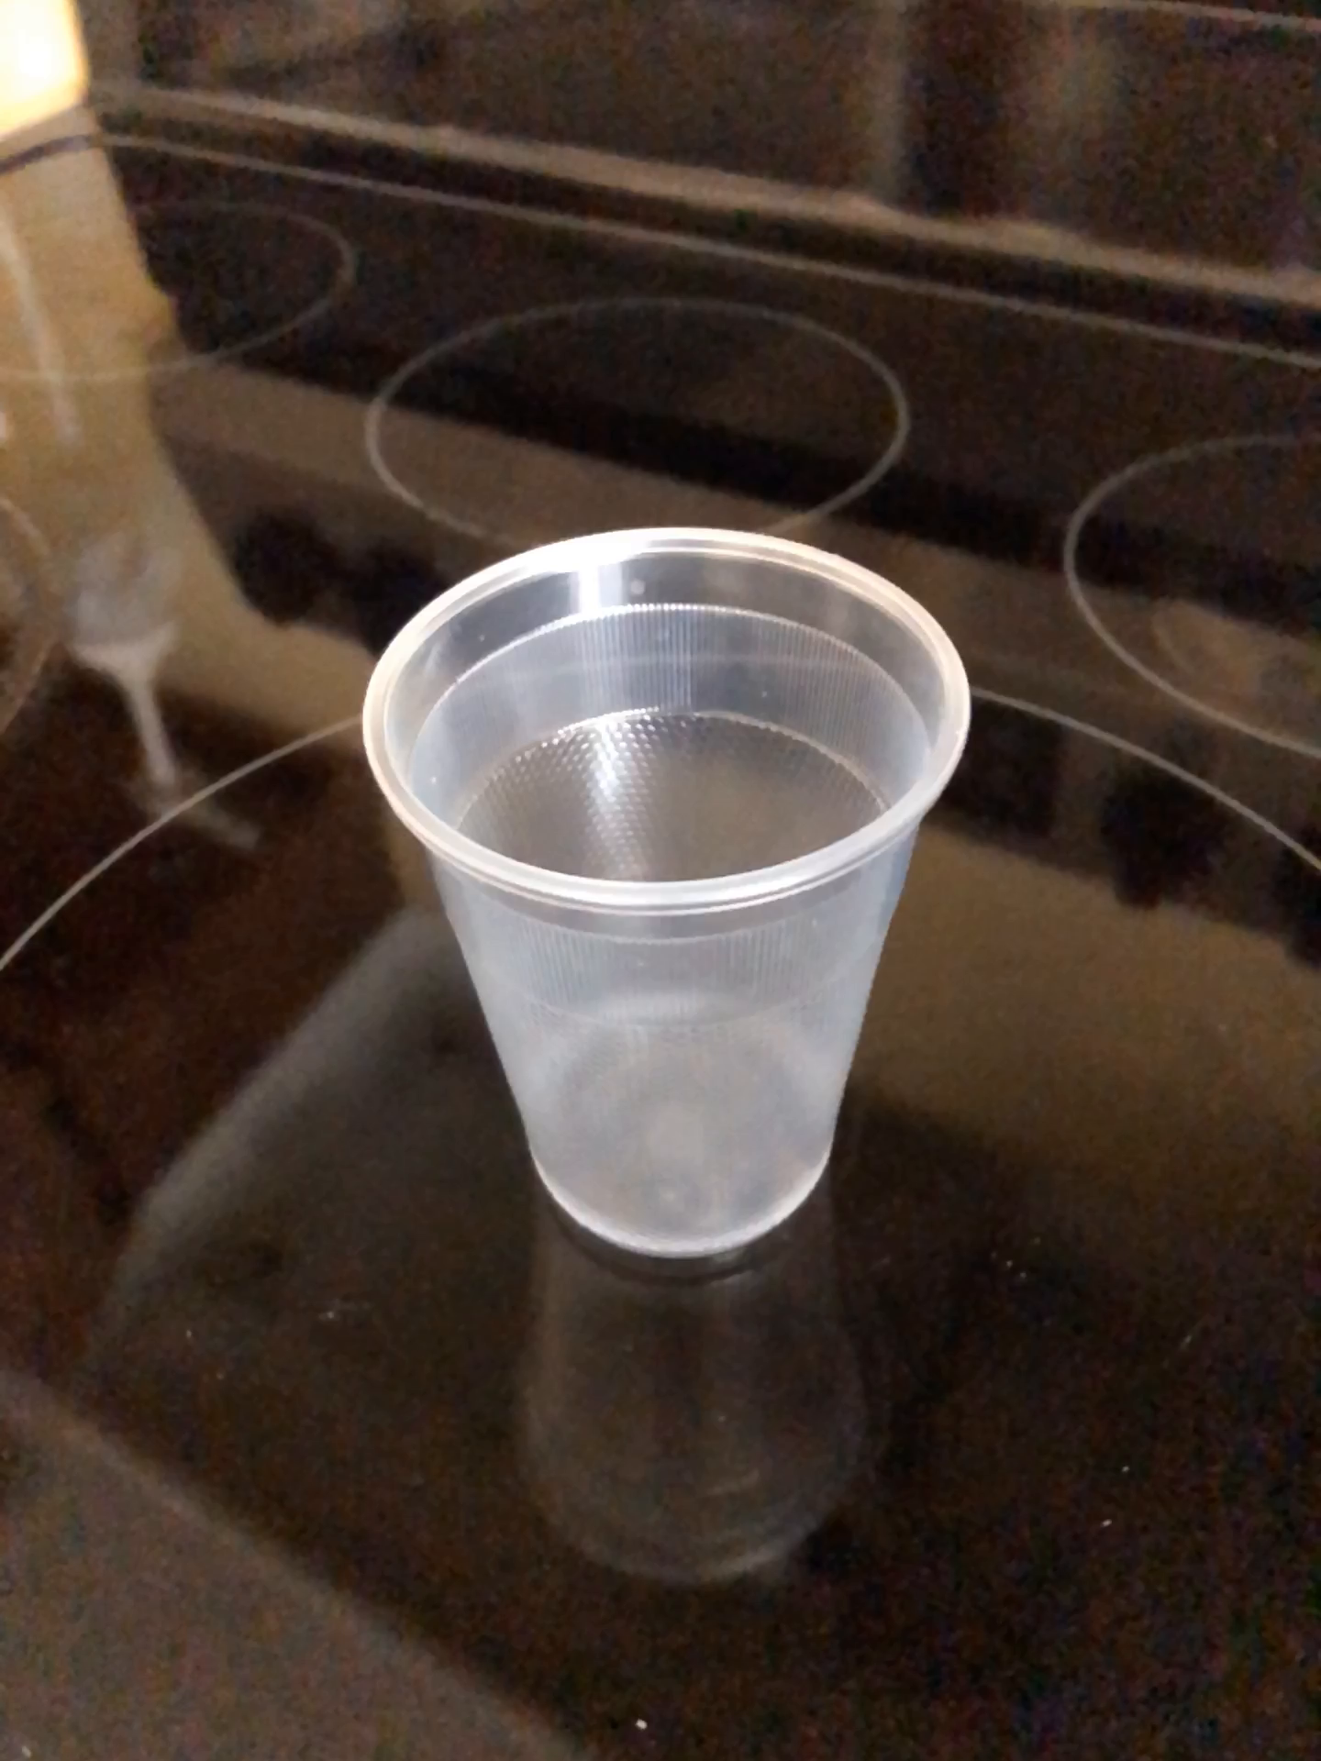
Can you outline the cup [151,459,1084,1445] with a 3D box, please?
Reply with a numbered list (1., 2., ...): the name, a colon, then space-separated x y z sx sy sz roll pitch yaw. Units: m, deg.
1. cup: -0.002 0.005 0.205 0.079 0.081 0.081 -1 43 1
